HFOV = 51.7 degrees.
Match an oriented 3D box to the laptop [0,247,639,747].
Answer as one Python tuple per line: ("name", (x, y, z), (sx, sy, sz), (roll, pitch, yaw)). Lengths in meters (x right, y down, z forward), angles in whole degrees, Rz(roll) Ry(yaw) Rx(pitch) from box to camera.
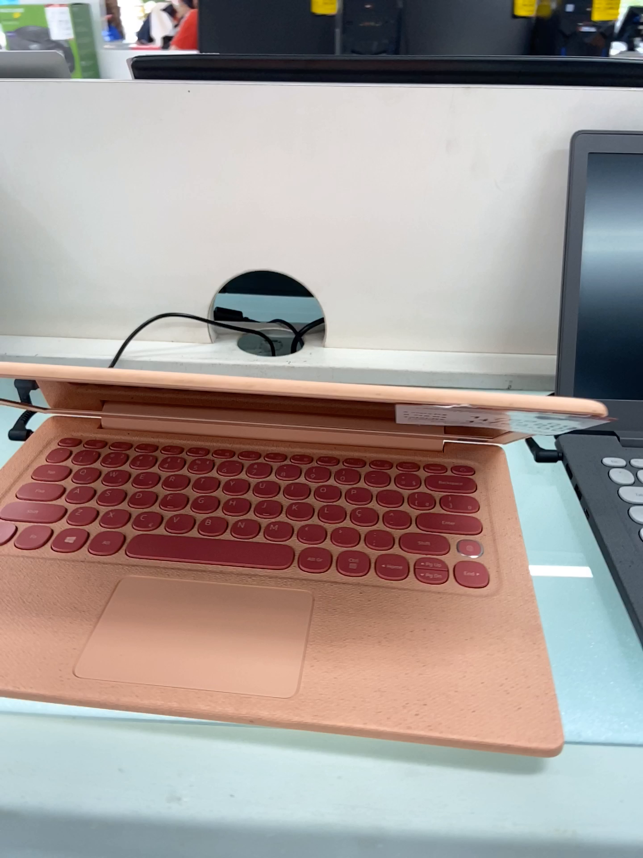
("laptop", (-0.051, 0.008, 0.340), (0.323, 0.129, 0.212), (4, 32, 6))
